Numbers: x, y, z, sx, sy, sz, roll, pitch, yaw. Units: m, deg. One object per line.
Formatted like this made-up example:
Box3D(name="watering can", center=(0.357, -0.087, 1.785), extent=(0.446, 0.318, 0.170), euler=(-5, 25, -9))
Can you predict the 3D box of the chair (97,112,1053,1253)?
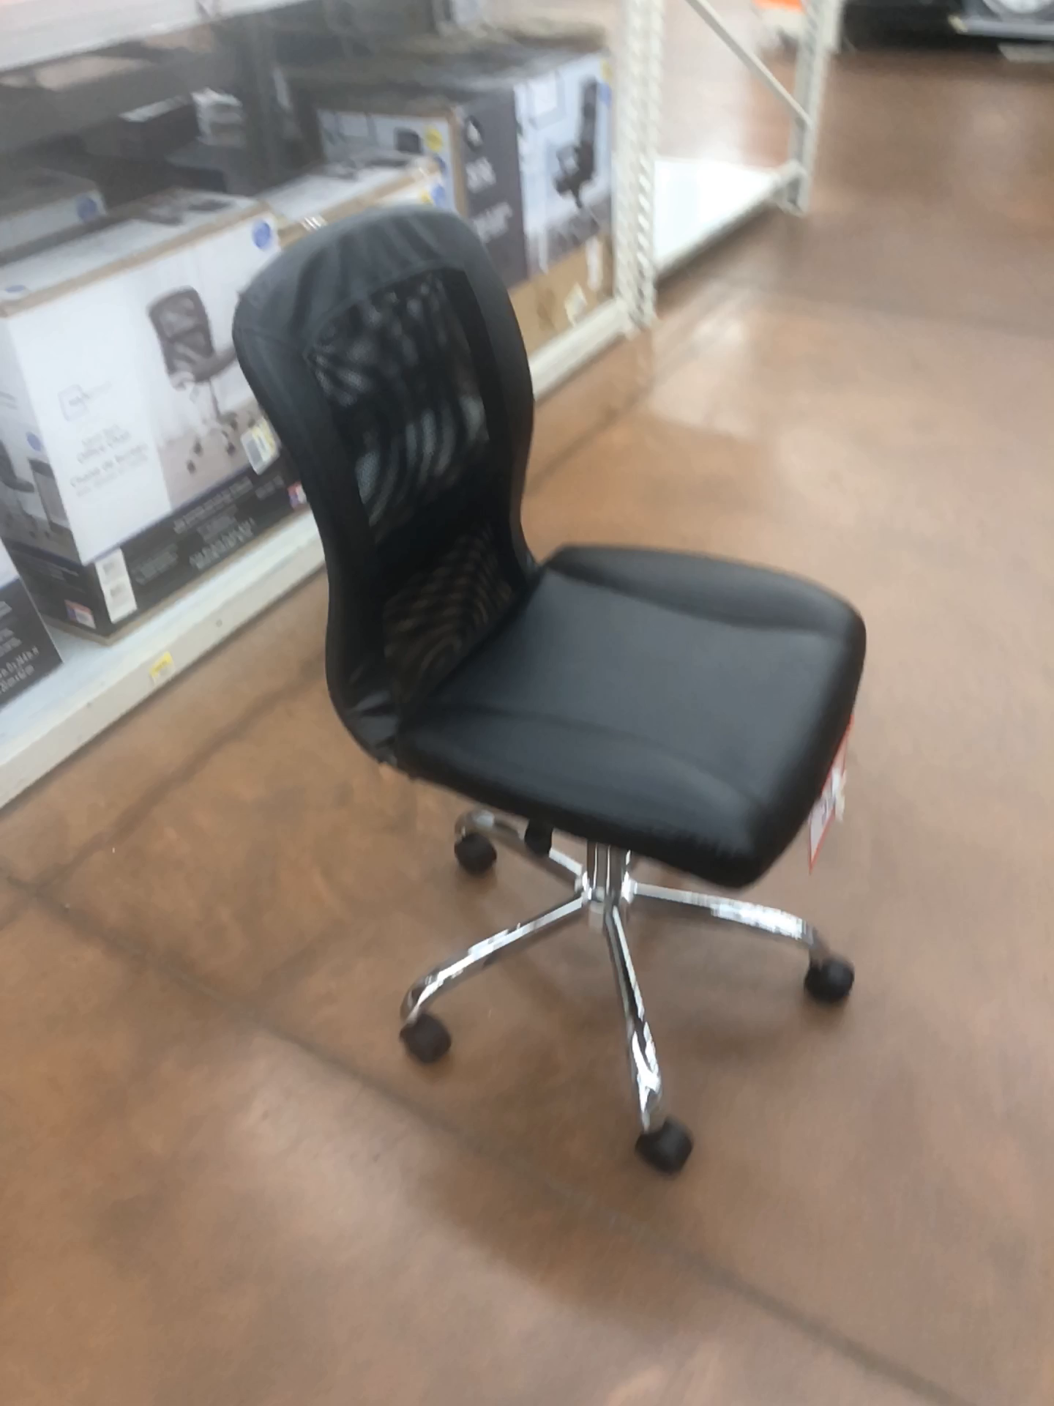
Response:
Box3D(name="chair", center=(0.145, -0.074, 1.216), extent=(0.651, 0.817, 0.682), euler=(17, 43, 23))
